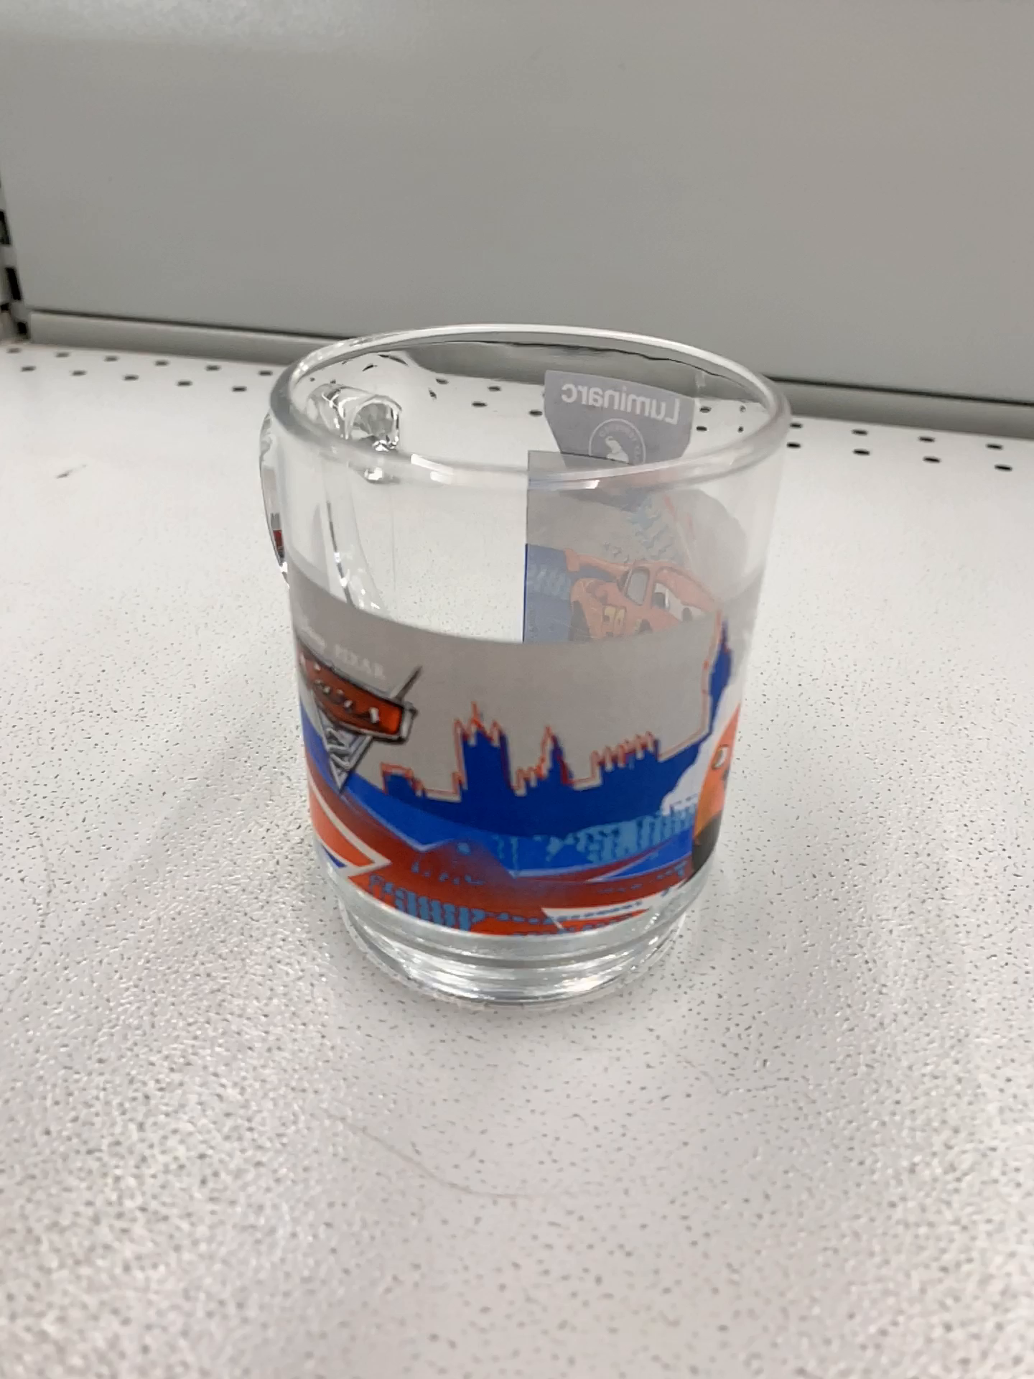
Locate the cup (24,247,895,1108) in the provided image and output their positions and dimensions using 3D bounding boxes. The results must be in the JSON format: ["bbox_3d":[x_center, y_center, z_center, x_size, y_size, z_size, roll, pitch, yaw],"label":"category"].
[{"bbox_3d":[-0.014,-0.015,0.176,0.071,0.087,0.108,-25,40,-37],"label":"cup"}]
